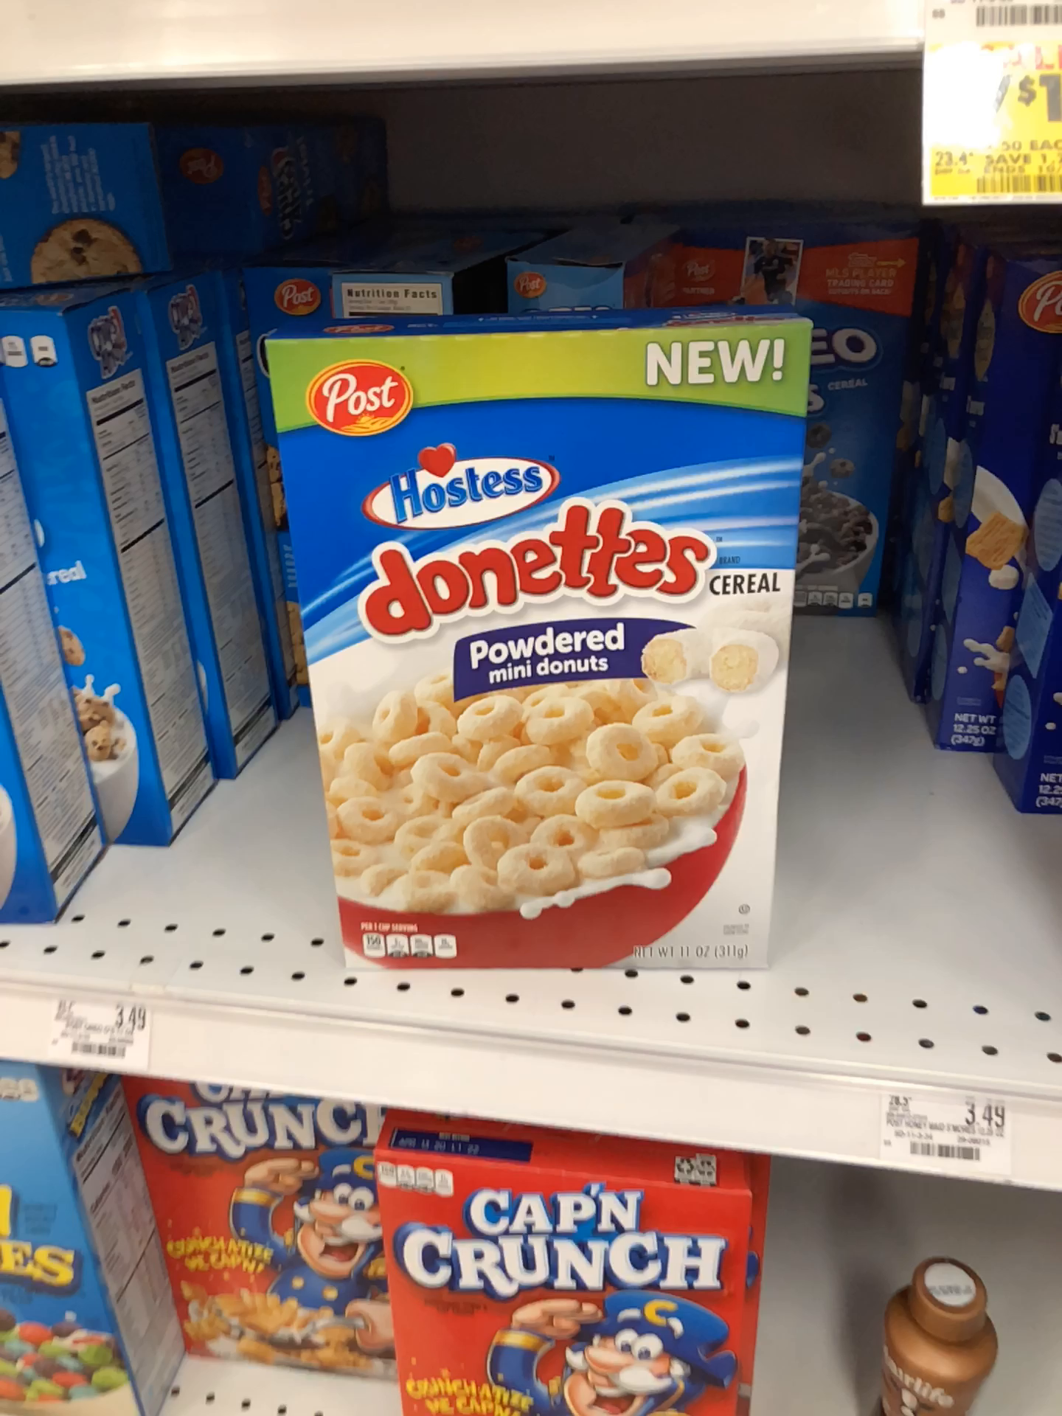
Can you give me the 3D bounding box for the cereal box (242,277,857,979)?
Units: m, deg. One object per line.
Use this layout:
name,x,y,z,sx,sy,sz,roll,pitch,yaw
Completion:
cereal box,0.010,-0.020,0.447,0.190,0.259,0.060,-1,26,3
